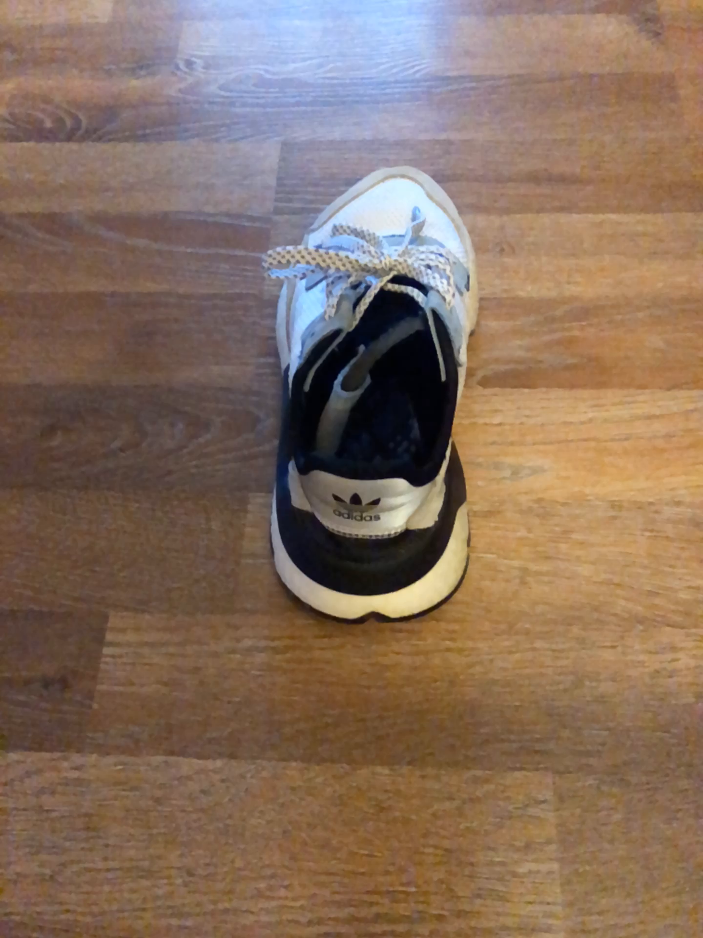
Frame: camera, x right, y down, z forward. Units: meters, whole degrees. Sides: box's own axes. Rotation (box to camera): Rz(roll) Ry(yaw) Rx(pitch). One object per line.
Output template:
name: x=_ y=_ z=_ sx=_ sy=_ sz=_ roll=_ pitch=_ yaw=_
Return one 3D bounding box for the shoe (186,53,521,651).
shoe: x=0.006 y=-0.062 z=0.376 sx=0.113 sy=0.110 sz=0.271 roll=0 pitch=62 yaw=3
